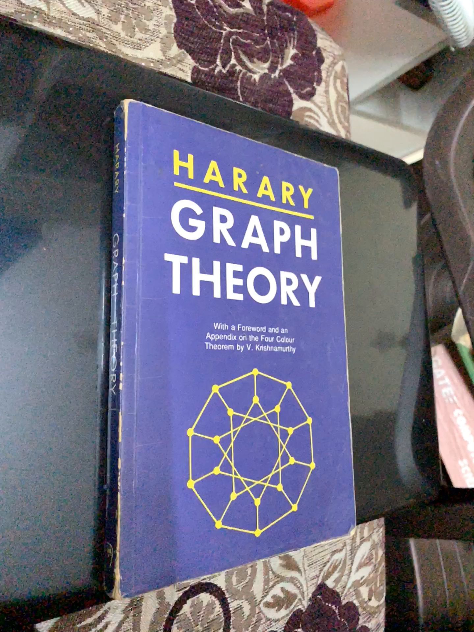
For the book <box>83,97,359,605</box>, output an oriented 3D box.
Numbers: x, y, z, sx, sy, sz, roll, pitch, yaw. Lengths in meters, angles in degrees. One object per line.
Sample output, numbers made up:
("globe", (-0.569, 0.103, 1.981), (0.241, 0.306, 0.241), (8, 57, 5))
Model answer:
("book", (0.001, 0.013, 0.243), (0.141, 0.020, 0.200), (5, 80, -35))
